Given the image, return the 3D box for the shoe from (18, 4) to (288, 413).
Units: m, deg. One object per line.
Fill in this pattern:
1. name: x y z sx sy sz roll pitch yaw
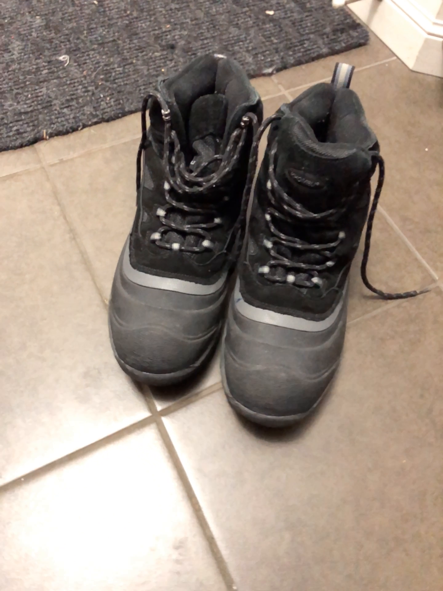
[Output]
1. shoe: -0.038 -0.075 0.450 0.120 0.200 0.290 13 60 3

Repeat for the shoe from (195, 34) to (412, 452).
1. shoe: 0.069 -0.041 0.437 0.120 0.200 0.290 12 60 3
